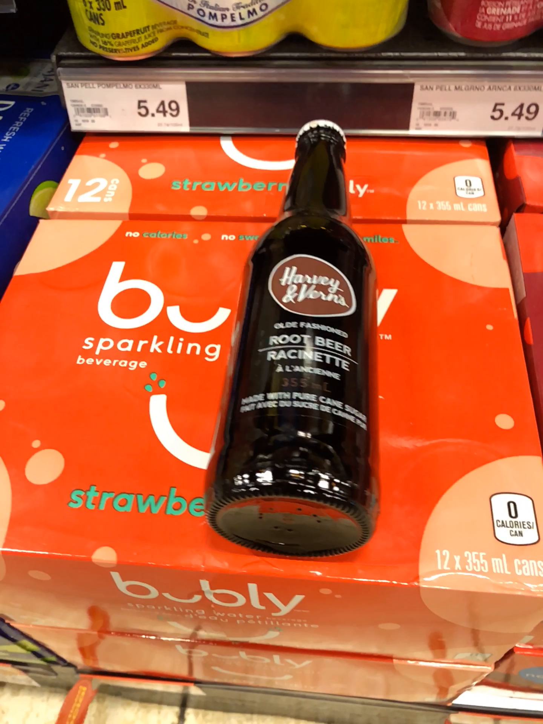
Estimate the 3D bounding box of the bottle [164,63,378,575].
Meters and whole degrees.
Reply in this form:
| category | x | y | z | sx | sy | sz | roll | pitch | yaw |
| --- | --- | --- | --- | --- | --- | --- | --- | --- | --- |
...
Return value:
| category | x | y | z | sx | sy | sz | roll | pitch | yaw |
| --- | --- | --- | --- | --- | --- | --- | --- | --- | --- |
| bottle | 0.013 | -0.037 | 0.265 | 0.060 | 0.070 | 0.231 | 3 | 54 | 6 |
